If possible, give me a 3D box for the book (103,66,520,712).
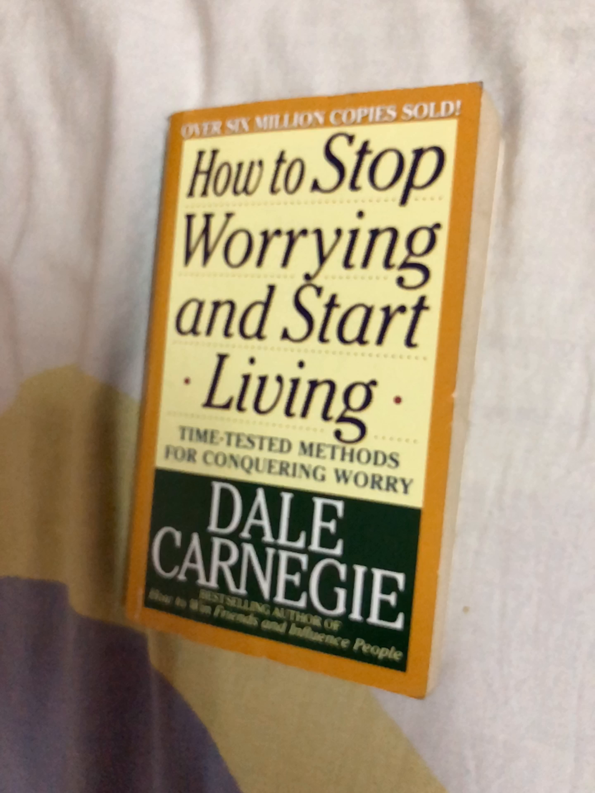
[{"bbox_3d":[0.006,-0.006,0.221,0.110,0.050,0.170,5,90,20],"label":"book"}]
